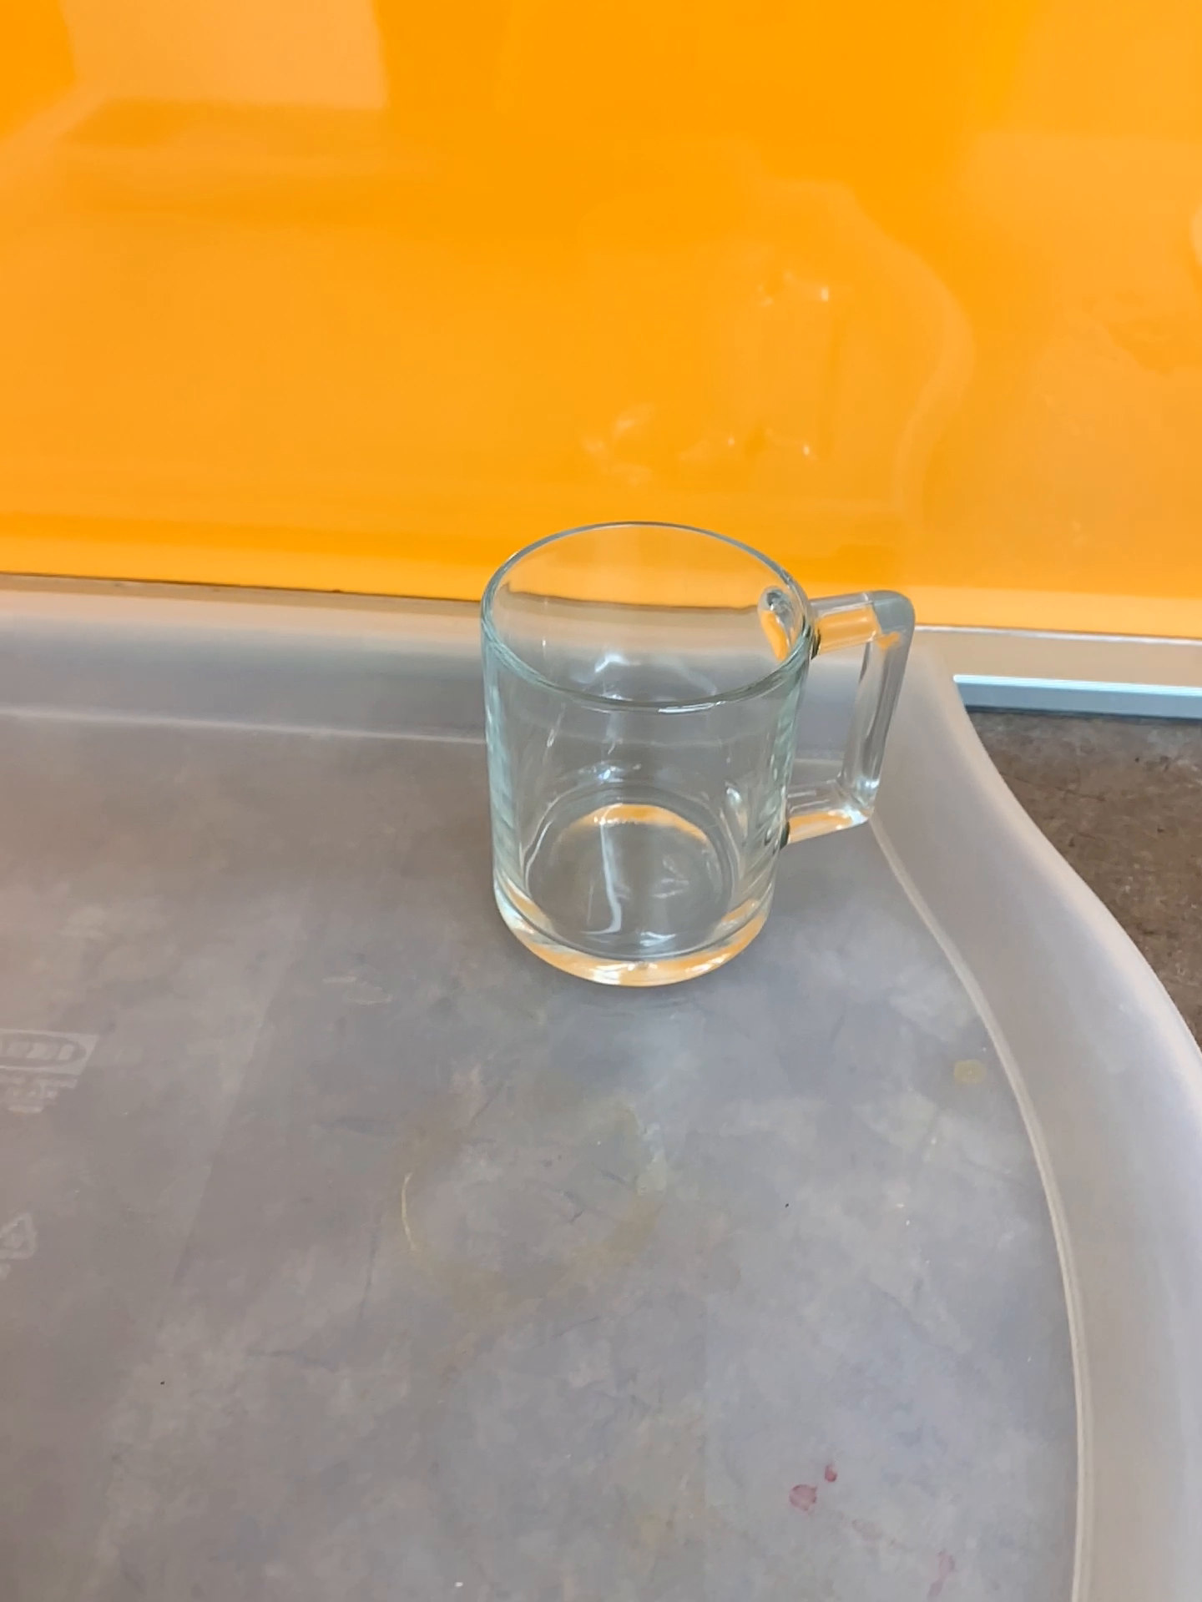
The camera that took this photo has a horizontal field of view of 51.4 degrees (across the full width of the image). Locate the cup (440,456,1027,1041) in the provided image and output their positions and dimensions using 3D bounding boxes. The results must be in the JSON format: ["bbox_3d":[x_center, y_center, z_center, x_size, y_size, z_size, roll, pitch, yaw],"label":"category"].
[{"bbox_3d":[0.023,-0.014,0.310,0.109,0.104,0.082,-8,45,-13],"label":"cup"}]
